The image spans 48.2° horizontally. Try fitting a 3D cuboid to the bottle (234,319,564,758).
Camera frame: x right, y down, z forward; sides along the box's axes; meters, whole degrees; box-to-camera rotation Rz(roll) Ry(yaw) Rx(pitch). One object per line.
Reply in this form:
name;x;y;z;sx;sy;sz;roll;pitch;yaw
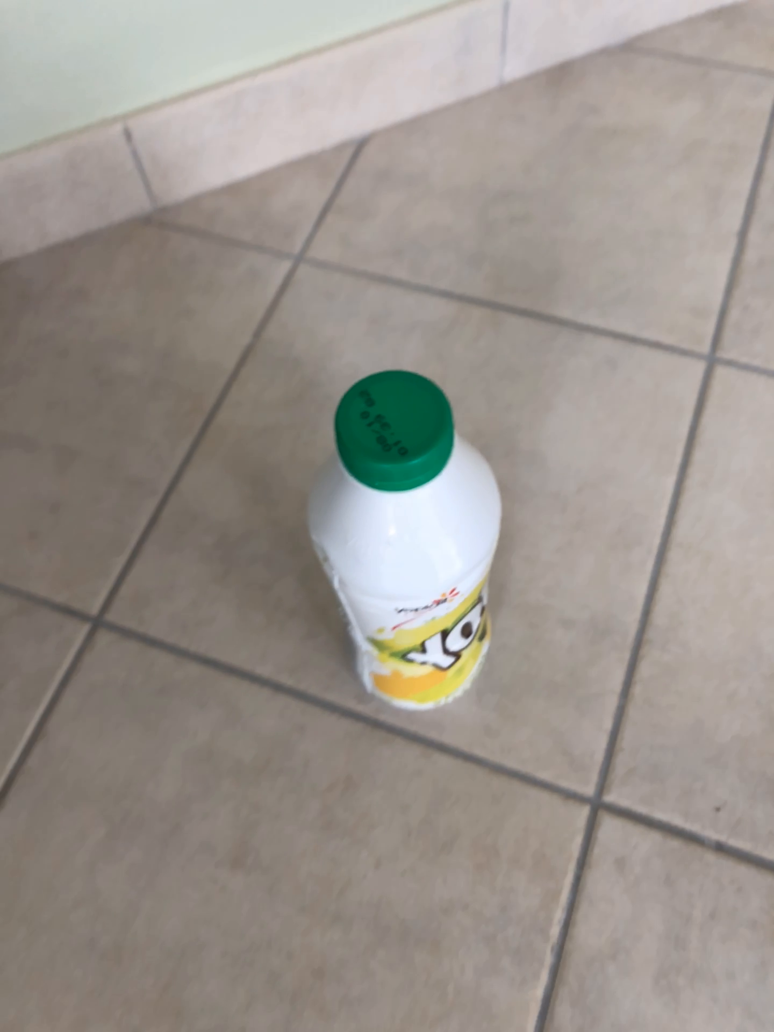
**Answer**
bottle;0.012;0.029;0.397;0.080;0.229;0.080;-2;63;3
